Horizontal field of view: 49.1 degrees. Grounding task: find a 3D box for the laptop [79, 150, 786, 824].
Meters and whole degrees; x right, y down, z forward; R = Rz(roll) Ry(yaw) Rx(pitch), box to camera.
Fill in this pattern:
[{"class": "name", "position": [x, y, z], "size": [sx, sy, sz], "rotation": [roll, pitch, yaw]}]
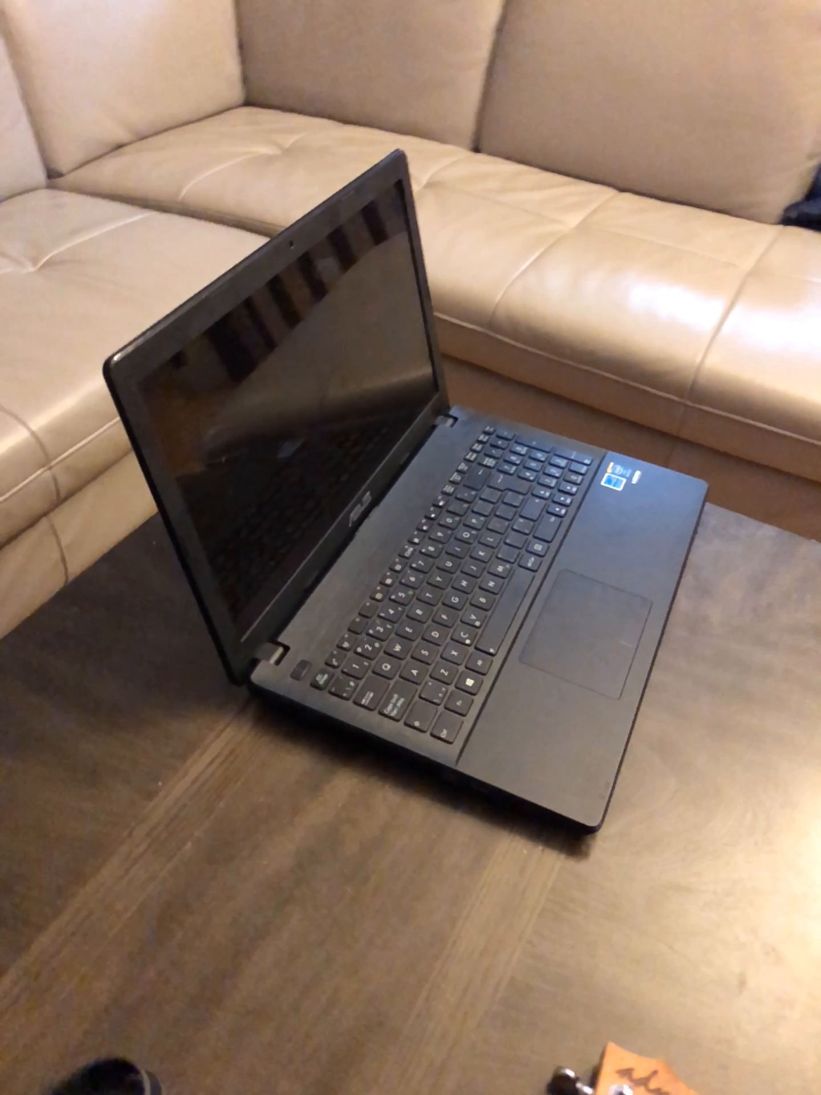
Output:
[{"class": "laptop", "position": [0.044, -0.074, 0.619], "size": [0.315, 0.216, 0.357], "rotation": [20, 44, 14]}]
